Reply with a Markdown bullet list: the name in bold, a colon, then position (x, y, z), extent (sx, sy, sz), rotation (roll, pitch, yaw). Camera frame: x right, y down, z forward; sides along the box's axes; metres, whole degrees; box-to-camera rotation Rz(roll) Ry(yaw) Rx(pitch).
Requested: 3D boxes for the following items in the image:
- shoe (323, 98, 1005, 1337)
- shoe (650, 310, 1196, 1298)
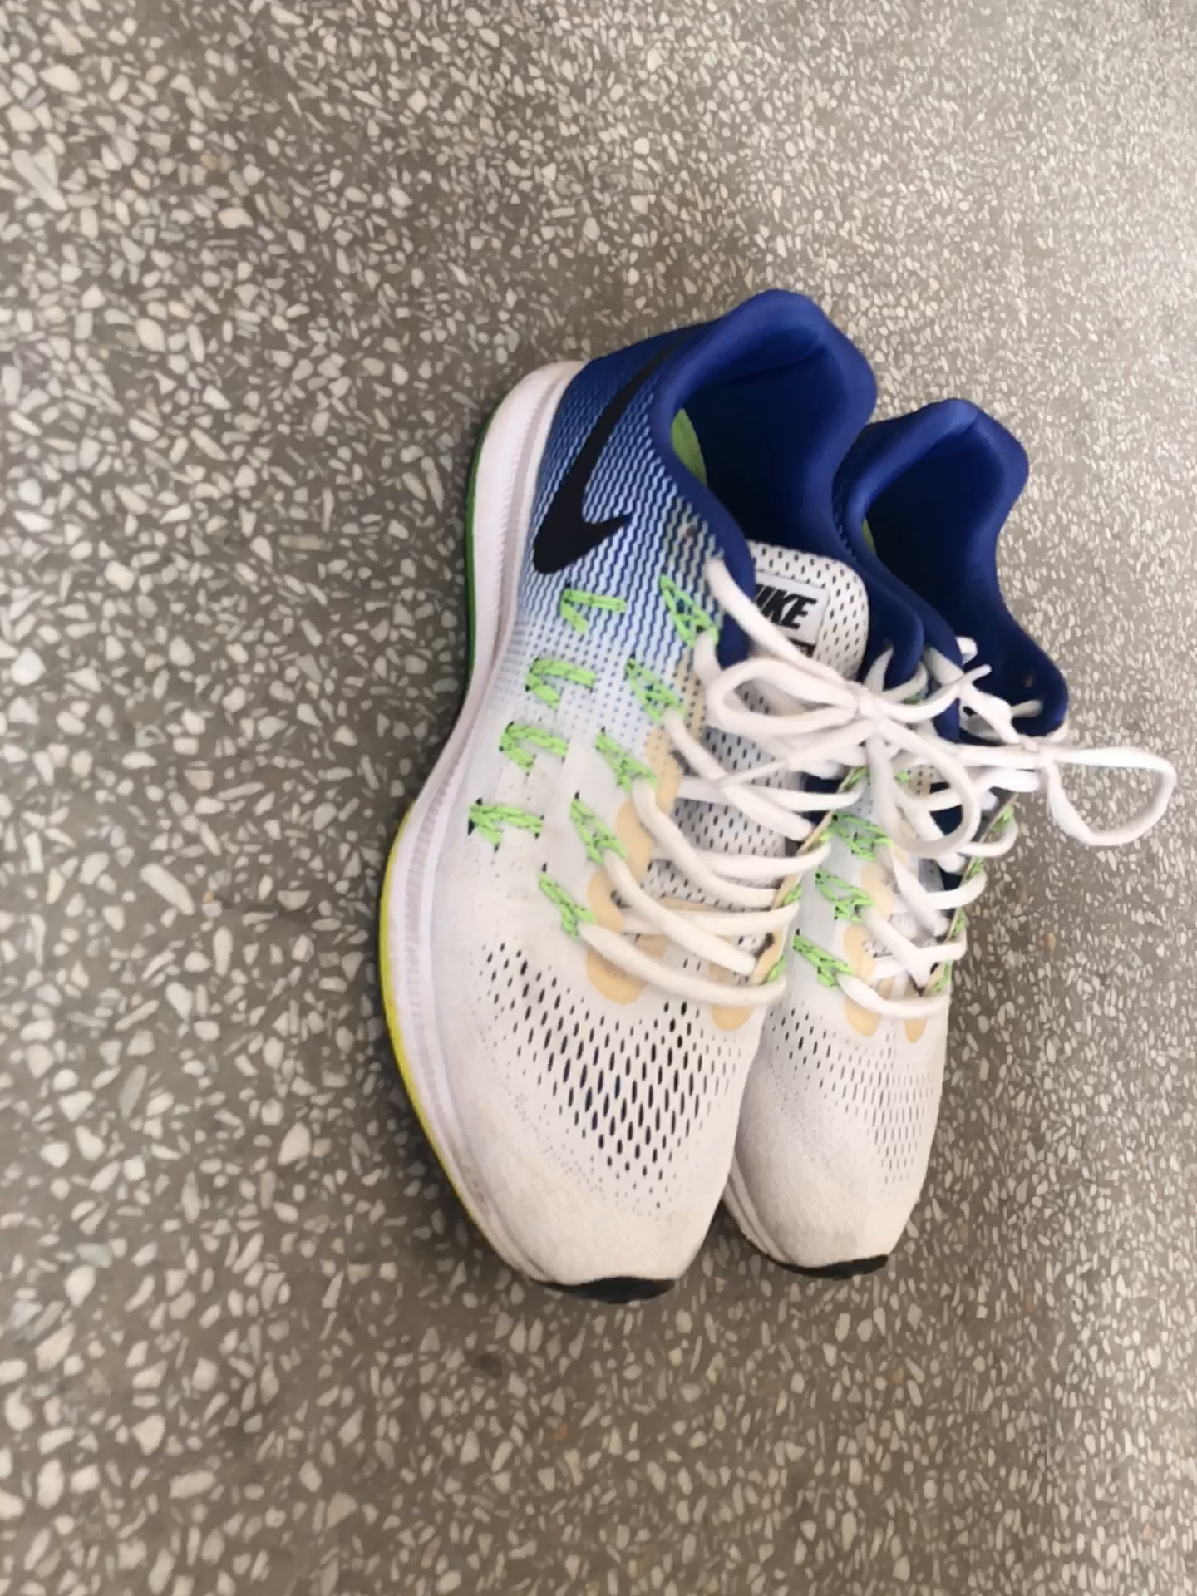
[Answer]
- **shoe**: position (0.016, -0.012, 0.355), extent (0.113, 0.114, 0.282), rotation (16, 66, -39)
- **shoe**: position (0.099, 0.010, 0.428), extent (0.112, 0.114, 0.275), rotation (15, 67, -40)
